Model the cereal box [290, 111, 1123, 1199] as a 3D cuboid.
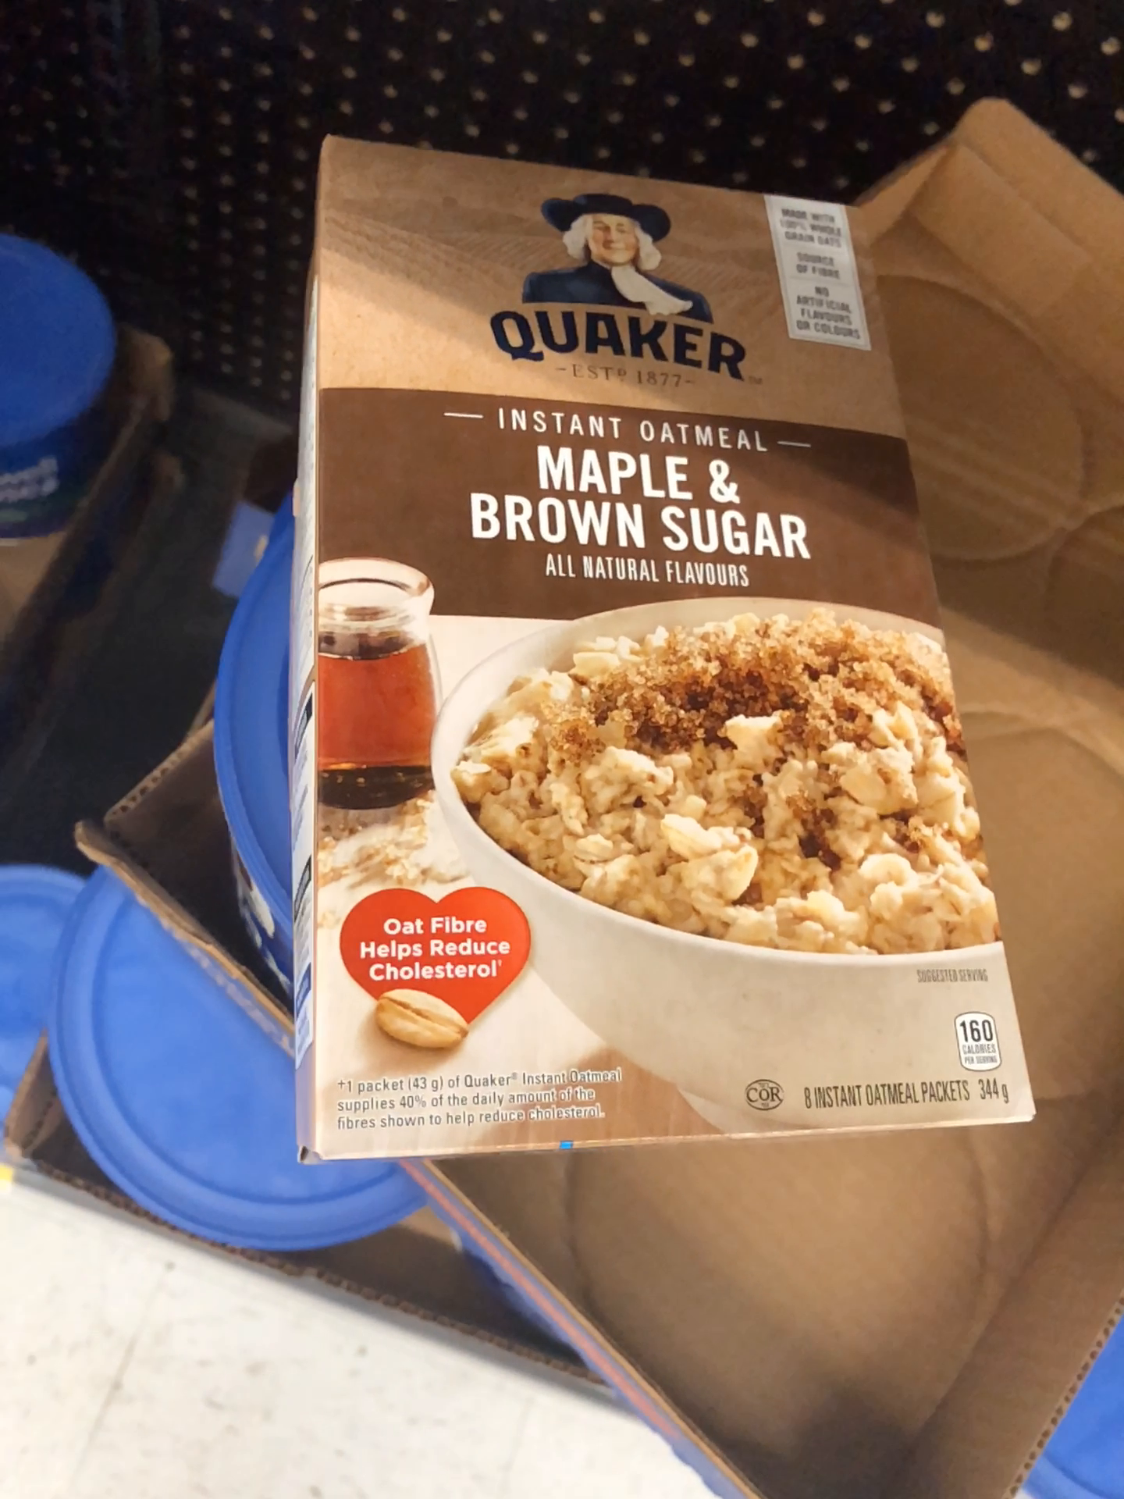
[{"bbox_3d":[0.017,-0.017,0.263,0.140,0.070,0.200,1,71,-14],"label":"cereal box"}]
